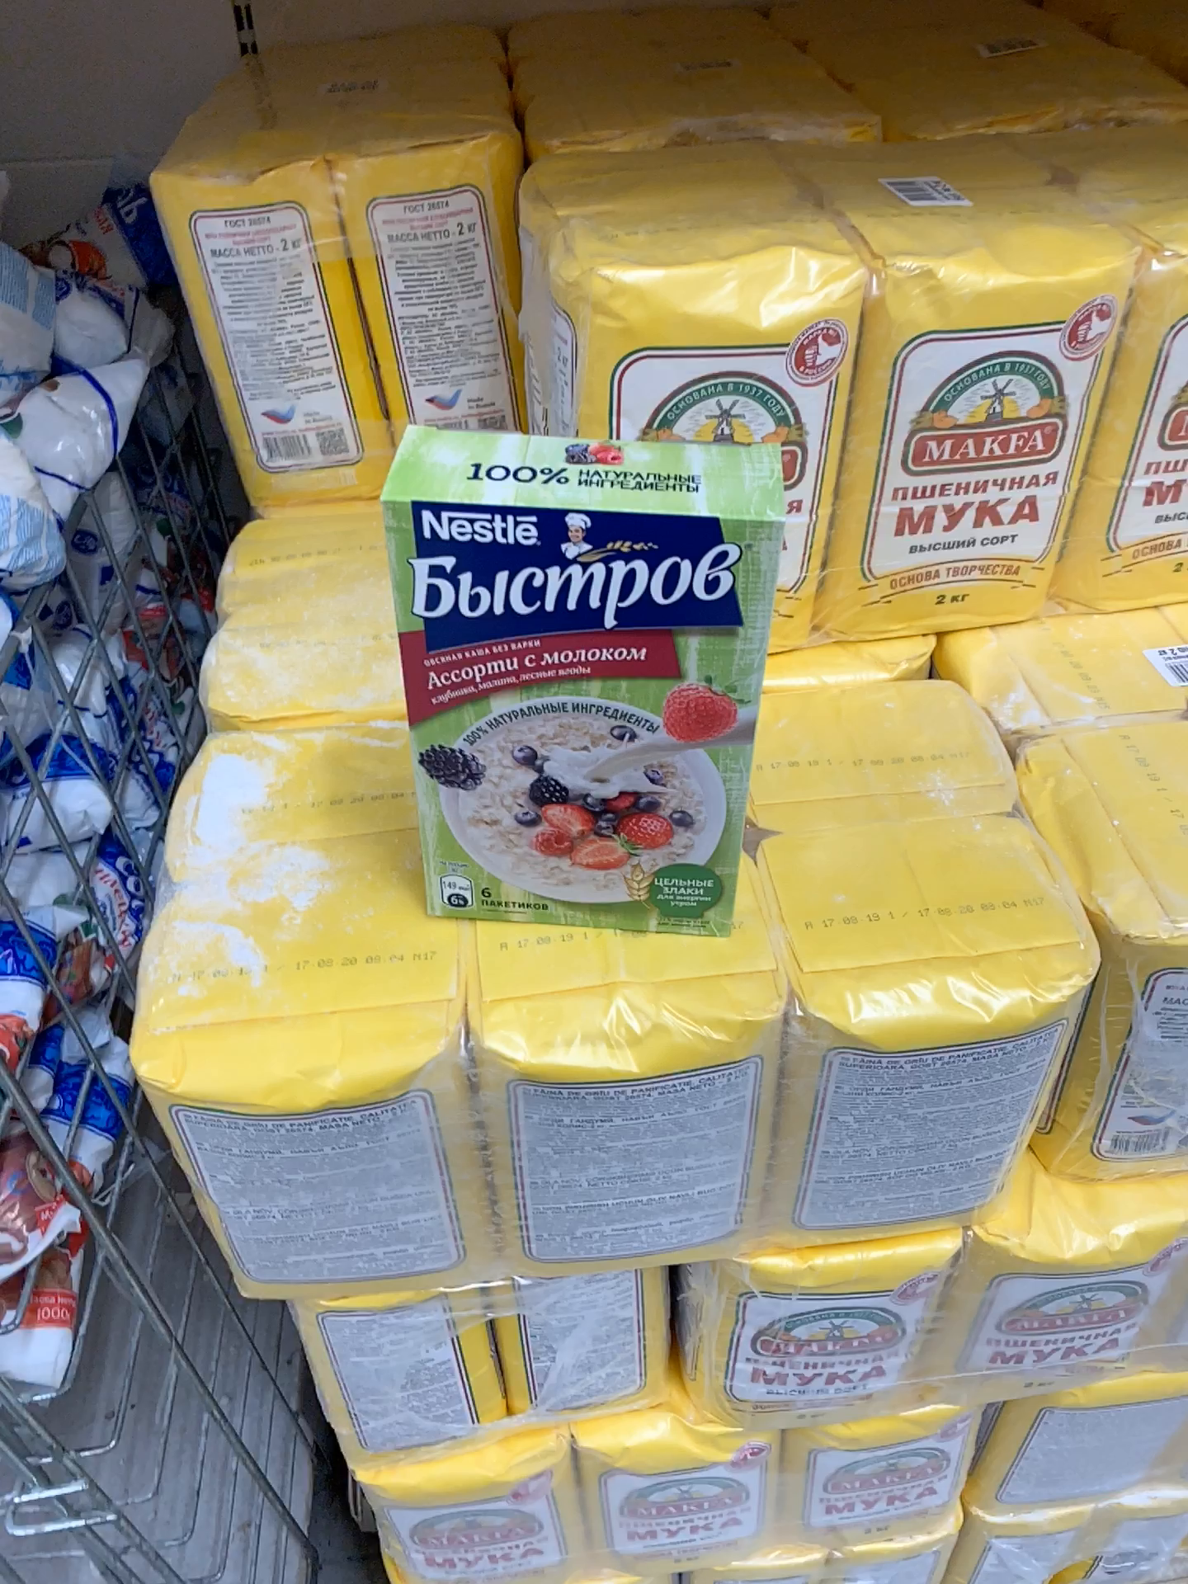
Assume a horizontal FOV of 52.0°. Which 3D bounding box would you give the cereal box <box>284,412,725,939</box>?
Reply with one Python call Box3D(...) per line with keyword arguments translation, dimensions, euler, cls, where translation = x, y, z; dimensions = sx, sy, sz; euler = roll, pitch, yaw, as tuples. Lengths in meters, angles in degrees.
Box3D(translation=(-0.024, -0.030, 0.411), dimensions=(0.120, 0.178, 0.050), euler=(4, 45, 3), cls="cereal box")
